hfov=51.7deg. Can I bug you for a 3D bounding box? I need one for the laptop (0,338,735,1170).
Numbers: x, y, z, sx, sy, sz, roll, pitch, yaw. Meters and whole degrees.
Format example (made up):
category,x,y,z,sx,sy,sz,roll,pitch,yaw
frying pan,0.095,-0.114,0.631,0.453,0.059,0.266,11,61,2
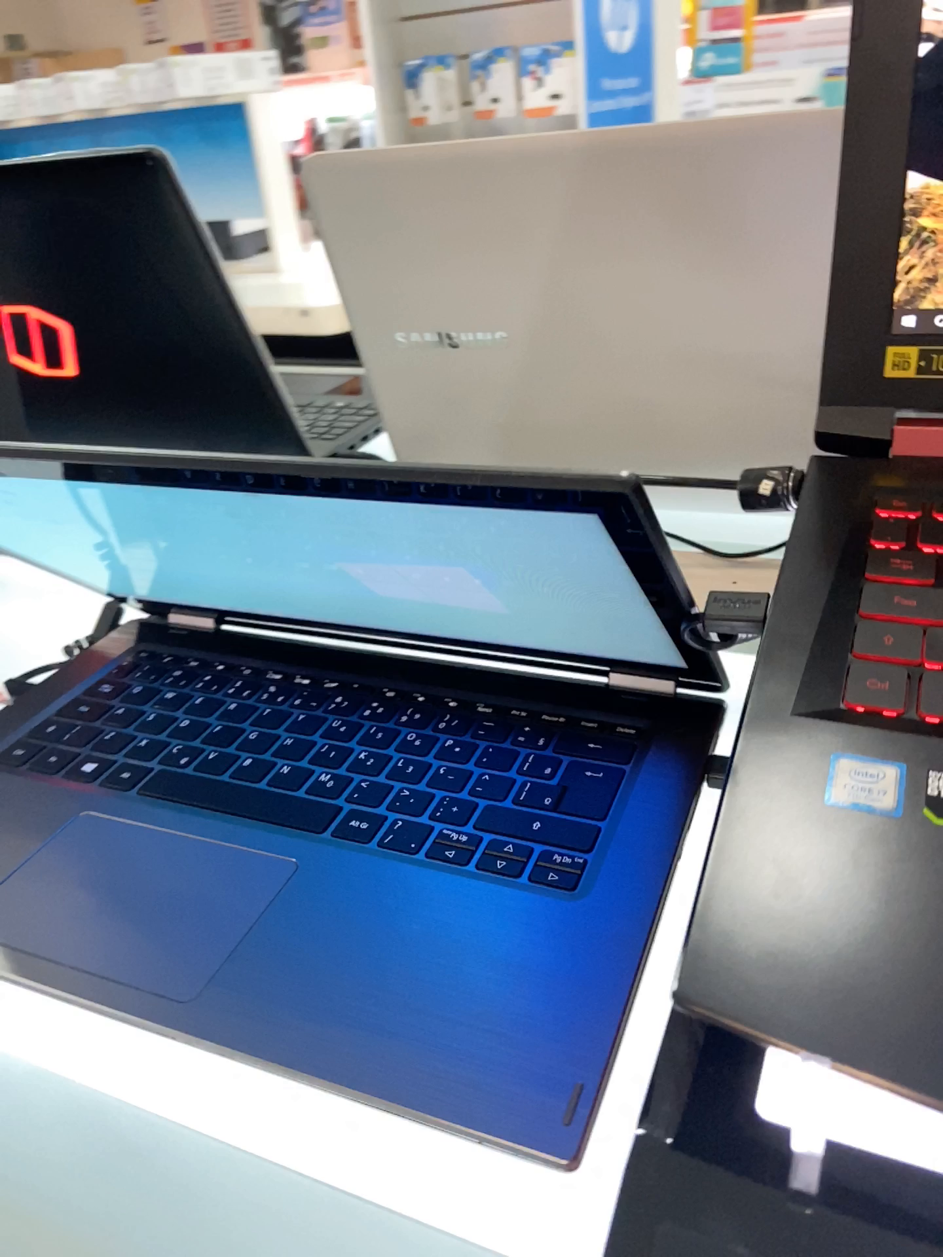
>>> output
category,x,y,z,sx,sy,sz,roll,pitch,yaw
laptop,-0.090,-0.001,0.362,0.328,0.154,0.220,7,31,22
